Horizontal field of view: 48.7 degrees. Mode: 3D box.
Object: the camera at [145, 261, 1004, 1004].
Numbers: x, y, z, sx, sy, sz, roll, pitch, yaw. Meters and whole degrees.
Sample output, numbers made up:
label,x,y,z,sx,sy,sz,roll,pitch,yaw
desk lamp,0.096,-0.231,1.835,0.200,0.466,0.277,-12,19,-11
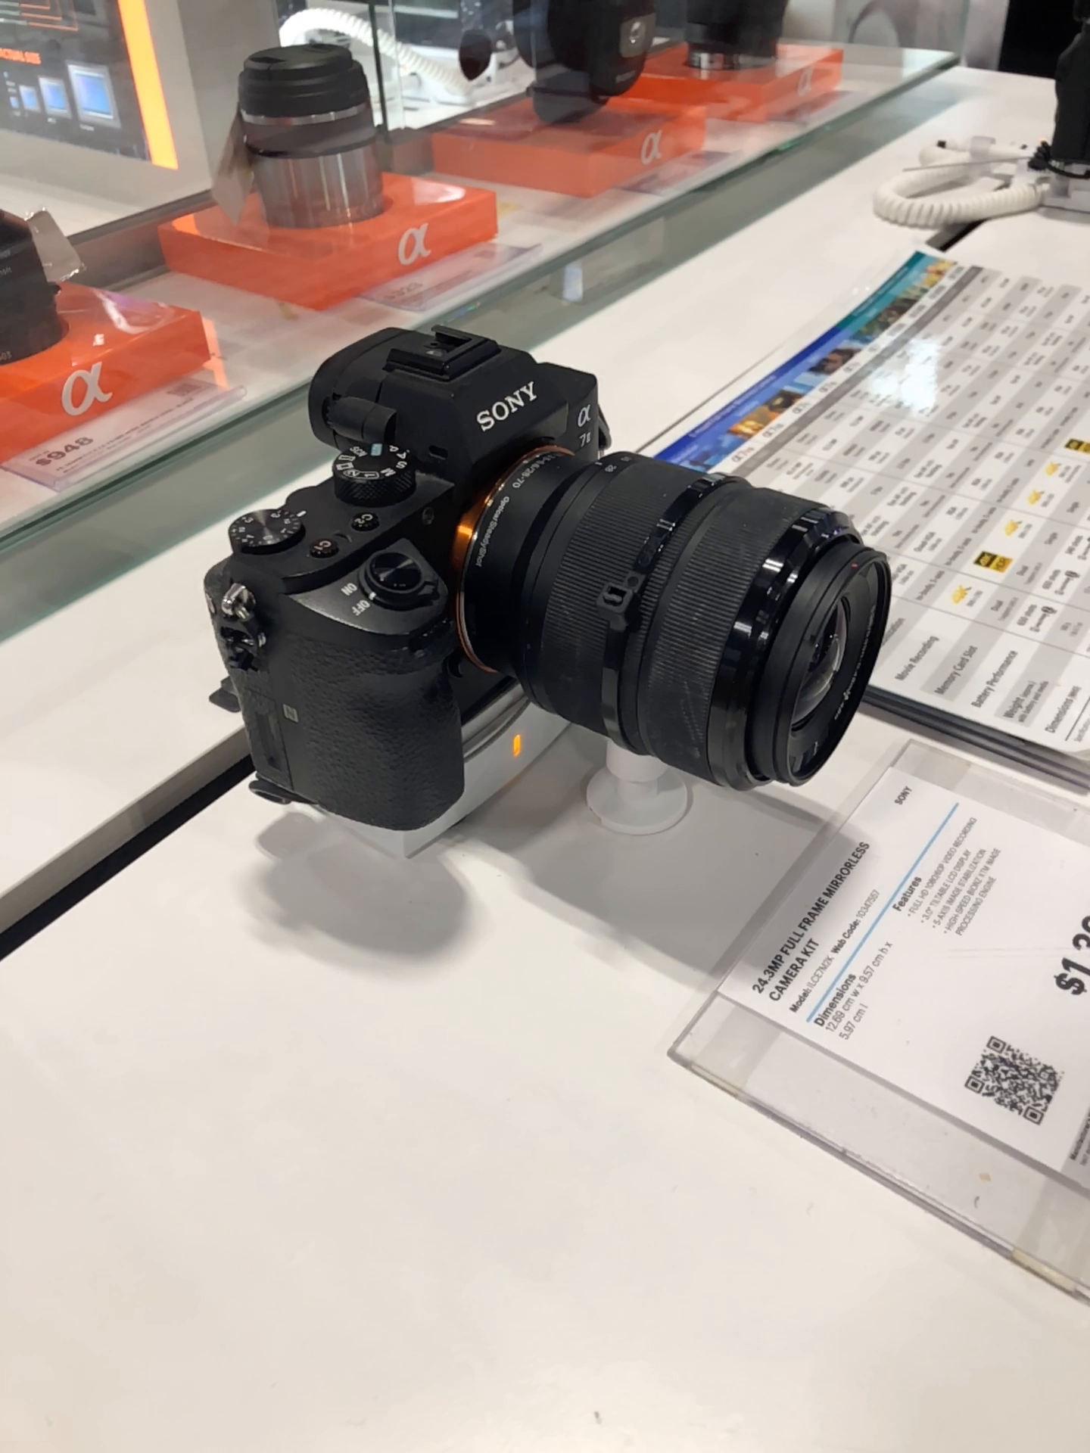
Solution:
label,x,y,z,sx,sy,sz,roll,pitch,yaw
camera,0.012,-0.036,0.291,0.140,0.089,0.131,22,45,26
